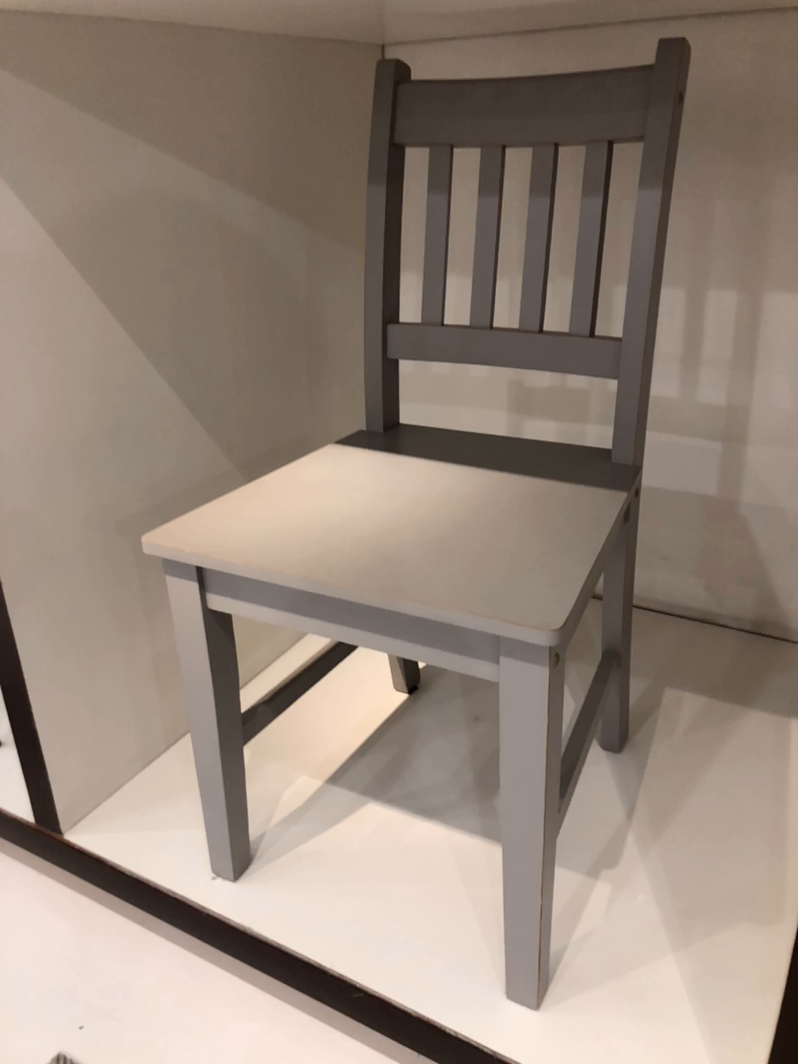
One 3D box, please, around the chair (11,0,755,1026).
[{"bbox_3d":[0.059,-0.081,0.981,0.461,0.864,0.584,10,27,26],"label":"chair"}]
